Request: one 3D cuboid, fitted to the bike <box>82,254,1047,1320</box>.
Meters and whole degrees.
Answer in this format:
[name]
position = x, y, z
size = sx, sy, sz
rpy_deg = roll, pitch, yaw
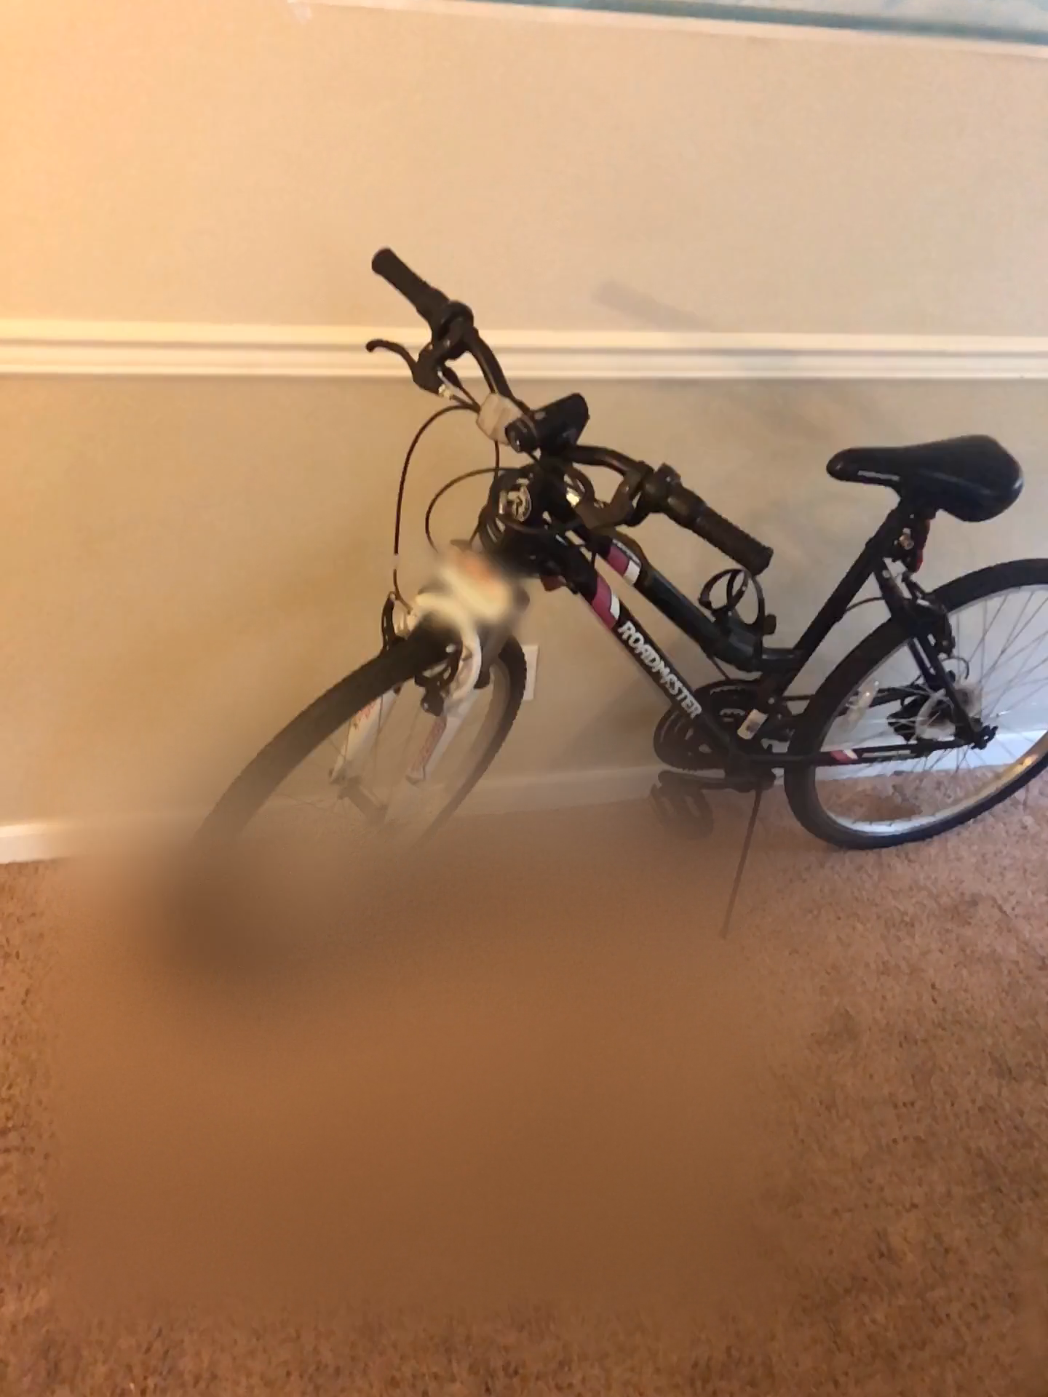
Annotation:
[bike]
position = 0.379, -0.003, 1.846
size = 1.867, 1.177, 0.682
rpy_deg = -10, 34, -22
